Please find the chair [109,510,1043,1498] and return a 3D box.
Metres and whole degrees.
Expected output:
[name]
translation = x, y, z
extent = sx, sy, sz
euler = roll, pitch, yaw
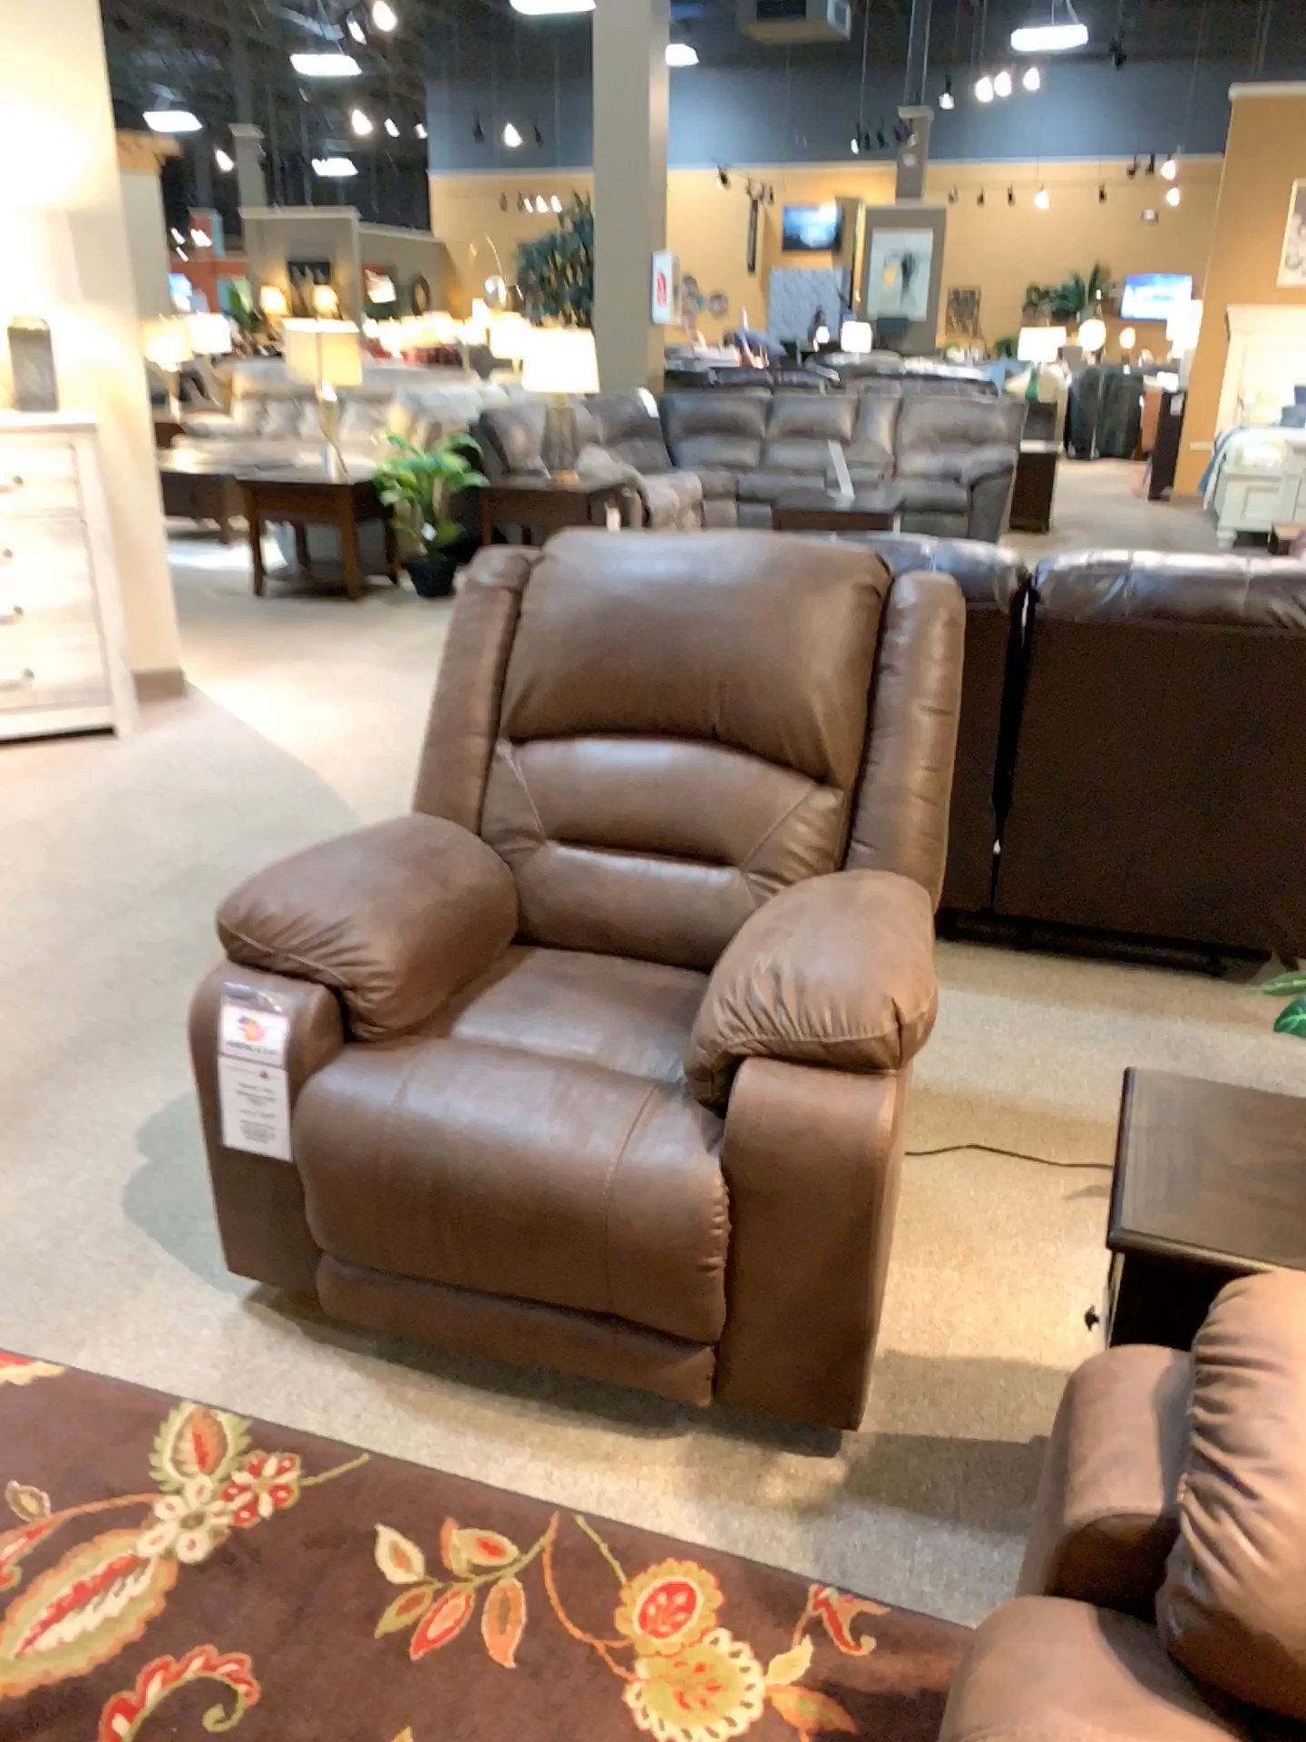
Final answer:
[chair]
translation = -0.008, 0.049, 2.086
extent = 1.001, 1.027, 1.069
euler = 9, 24, 18
